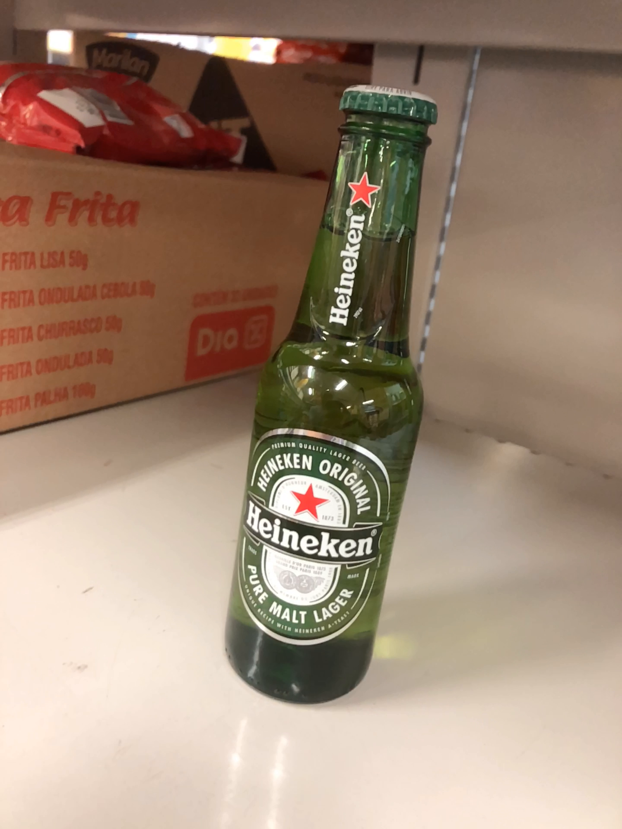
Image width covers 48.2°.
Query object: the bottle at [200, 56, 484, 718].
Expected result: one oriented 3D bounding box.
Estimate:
[{"bbox_3d":[0.005,-0.003,0.233,0.060,0.199,0.060,6,21,-2],"label":"bottle"}]
